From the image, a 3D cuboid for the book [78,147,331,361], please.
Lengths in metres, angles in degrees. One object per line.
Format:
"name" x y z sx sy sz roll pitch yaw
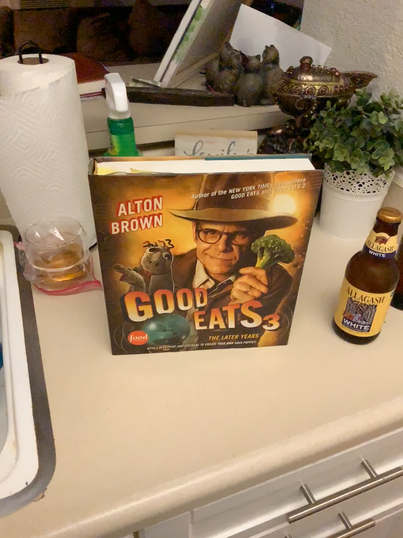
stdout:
"book" 0.001 -0.007 0.516 0.240 0.250 0.050 -3 36 -6
